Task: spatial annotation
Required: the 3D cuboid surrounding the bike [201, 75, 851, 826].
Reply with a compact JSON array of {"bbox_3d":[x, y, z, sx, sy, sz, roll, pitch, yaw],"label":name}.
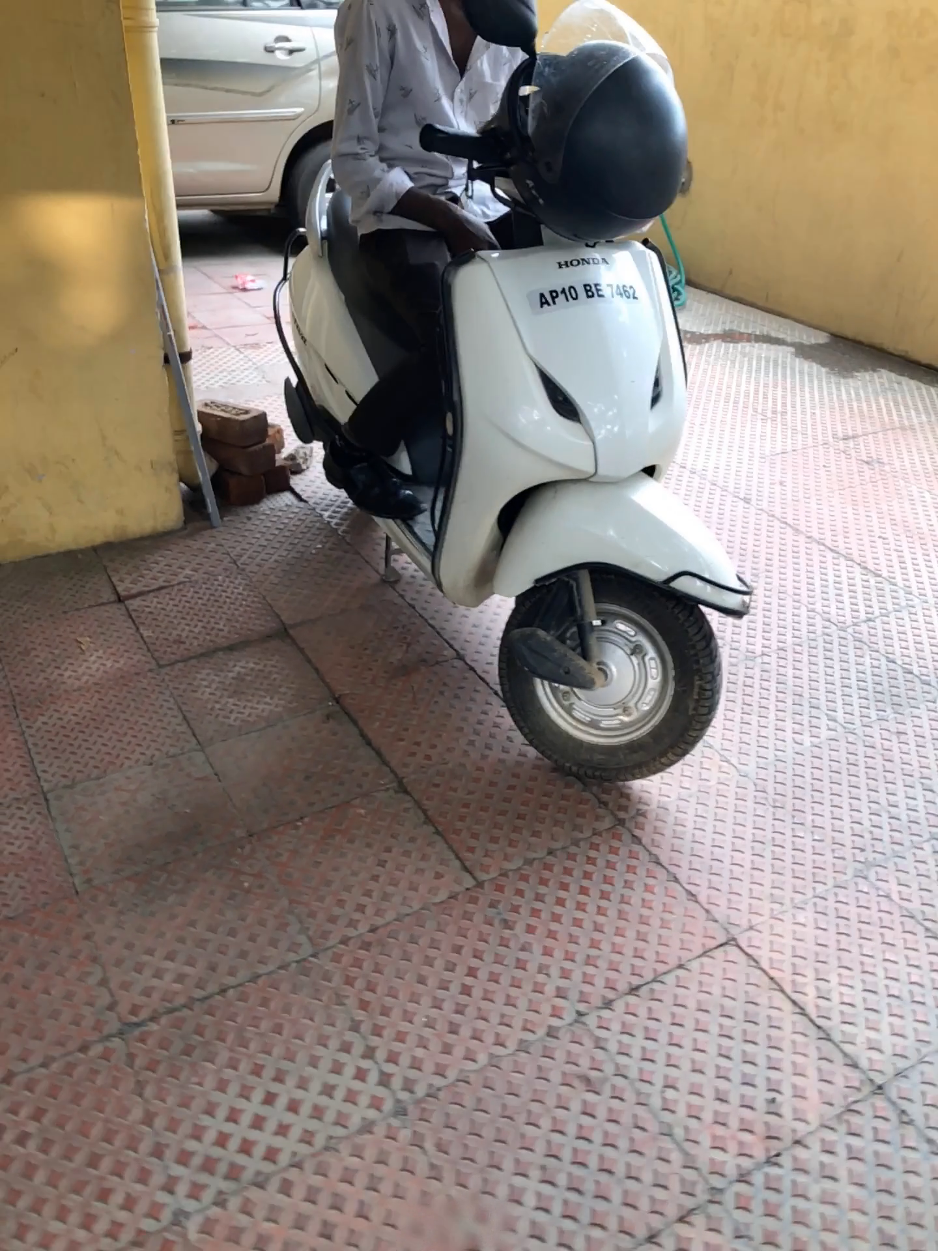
[{"bbox_3d":[-0.016,-0.522,2.336,0.659,1.108,1.392,-15,37,-26],"label":"bike"}]
